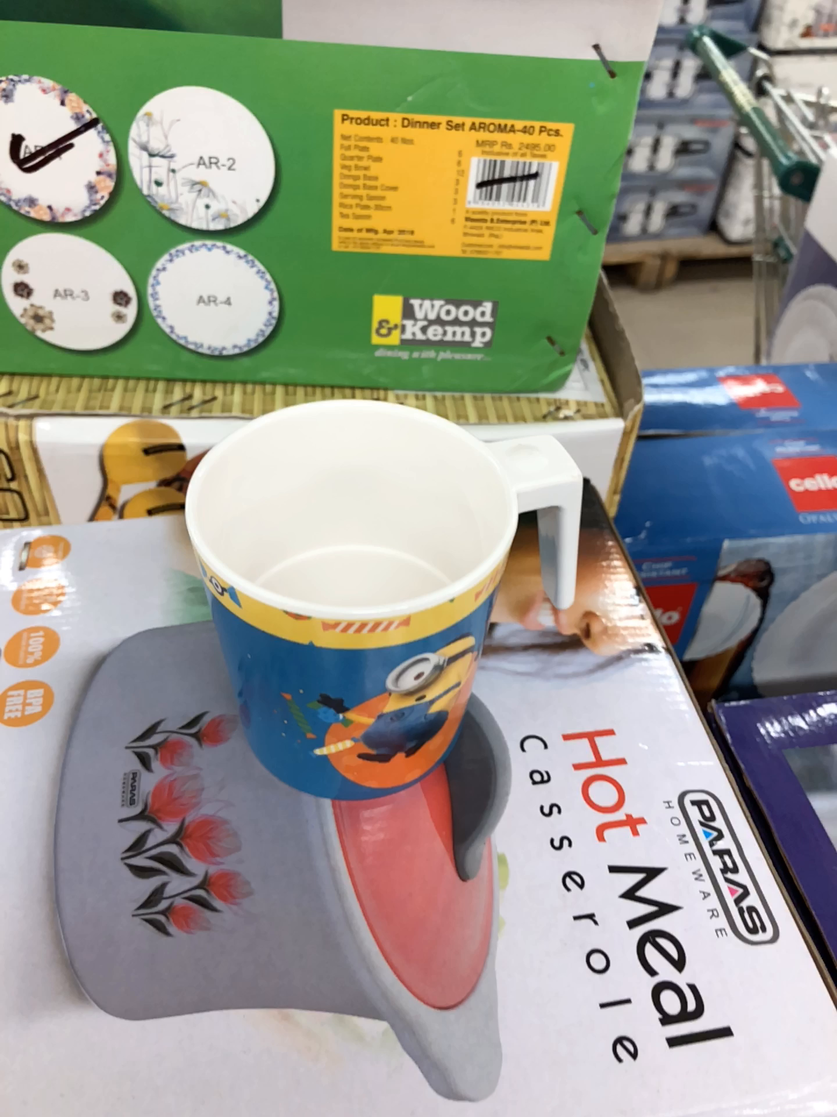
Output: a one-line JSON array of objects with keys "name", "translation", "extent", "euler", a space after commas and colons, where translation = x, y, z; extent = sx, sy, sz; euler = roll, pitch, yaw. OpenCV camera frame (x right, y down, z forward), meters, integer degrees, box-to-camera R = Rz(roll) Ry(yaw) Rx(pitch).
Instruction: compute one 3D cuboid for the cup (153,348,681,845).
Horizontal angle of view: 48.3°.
[{"name": "cup", "translation": [-0.004, 0.006, 0.264], "extent": [0.110, 0.080, 0.080], "euler": [-17, 48, -20]}]
